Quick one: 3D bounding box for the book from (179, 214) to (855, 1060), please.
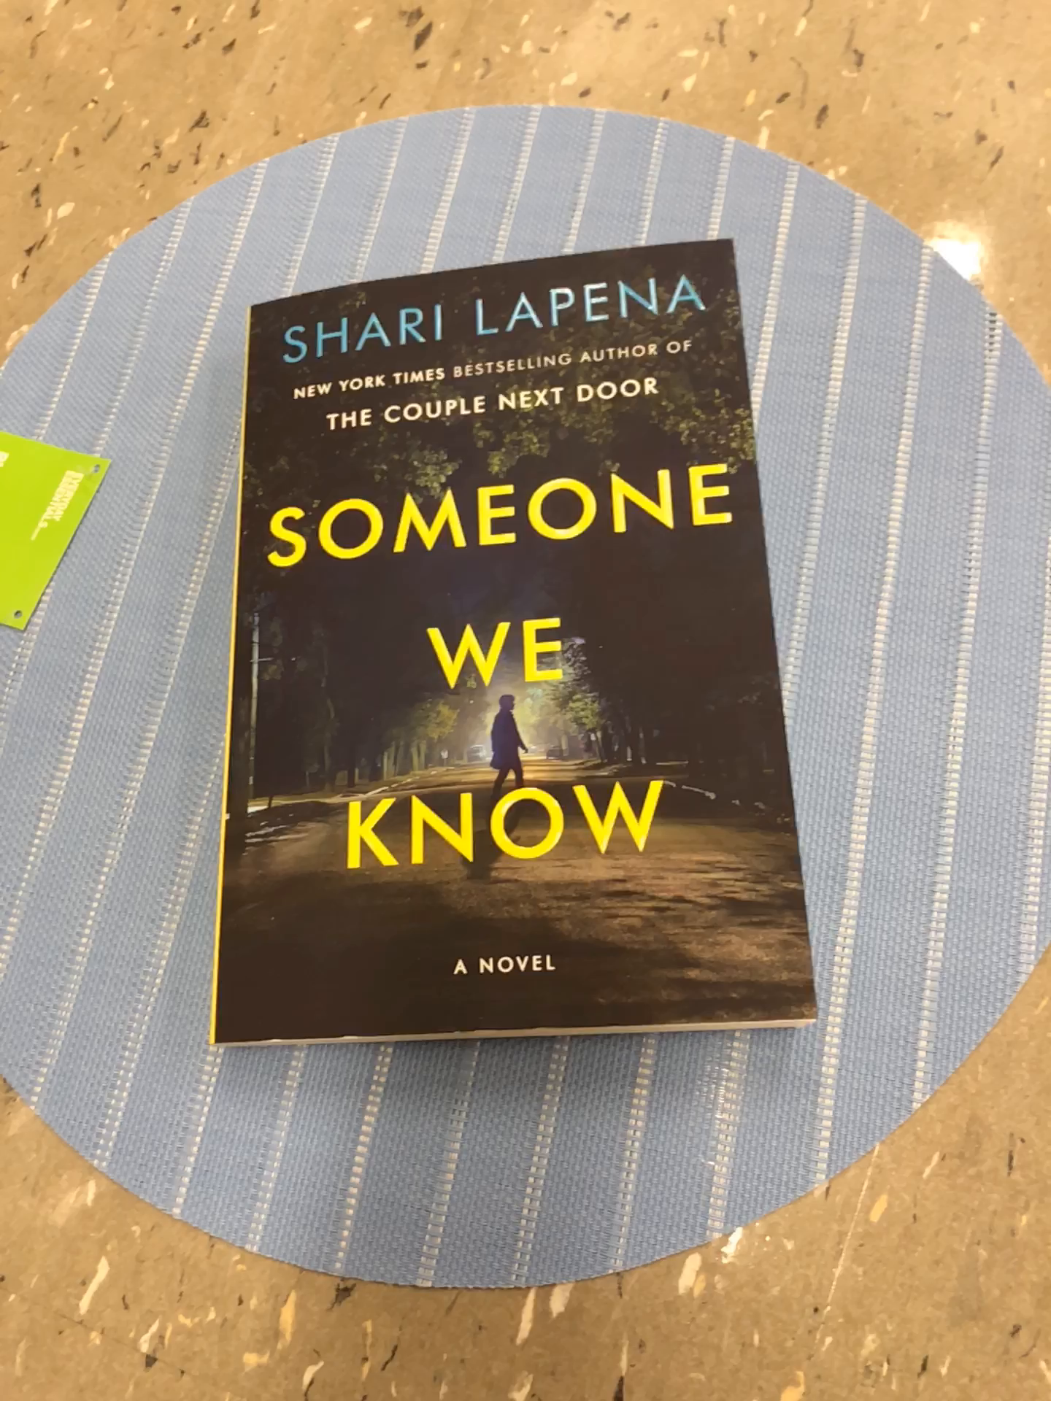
[{"bbox_3d":[-0.007,-0.021,0.324,0.161,0.030,0.225,-5,72,8],"label":"book"}]
